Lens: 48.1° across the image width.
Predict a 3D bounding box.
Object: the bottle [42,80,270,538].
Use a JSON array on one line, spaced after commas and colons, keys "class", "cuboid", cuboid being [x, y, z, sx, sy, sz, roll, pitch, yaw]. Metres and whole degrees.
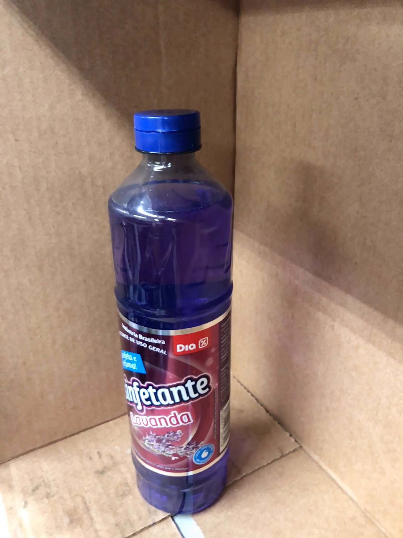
[{"class": "bottle", "cuboid": [-0.013, 0.029, 0.248, 0.070, 0.238, 0.070, -2, 27, 1]}]
